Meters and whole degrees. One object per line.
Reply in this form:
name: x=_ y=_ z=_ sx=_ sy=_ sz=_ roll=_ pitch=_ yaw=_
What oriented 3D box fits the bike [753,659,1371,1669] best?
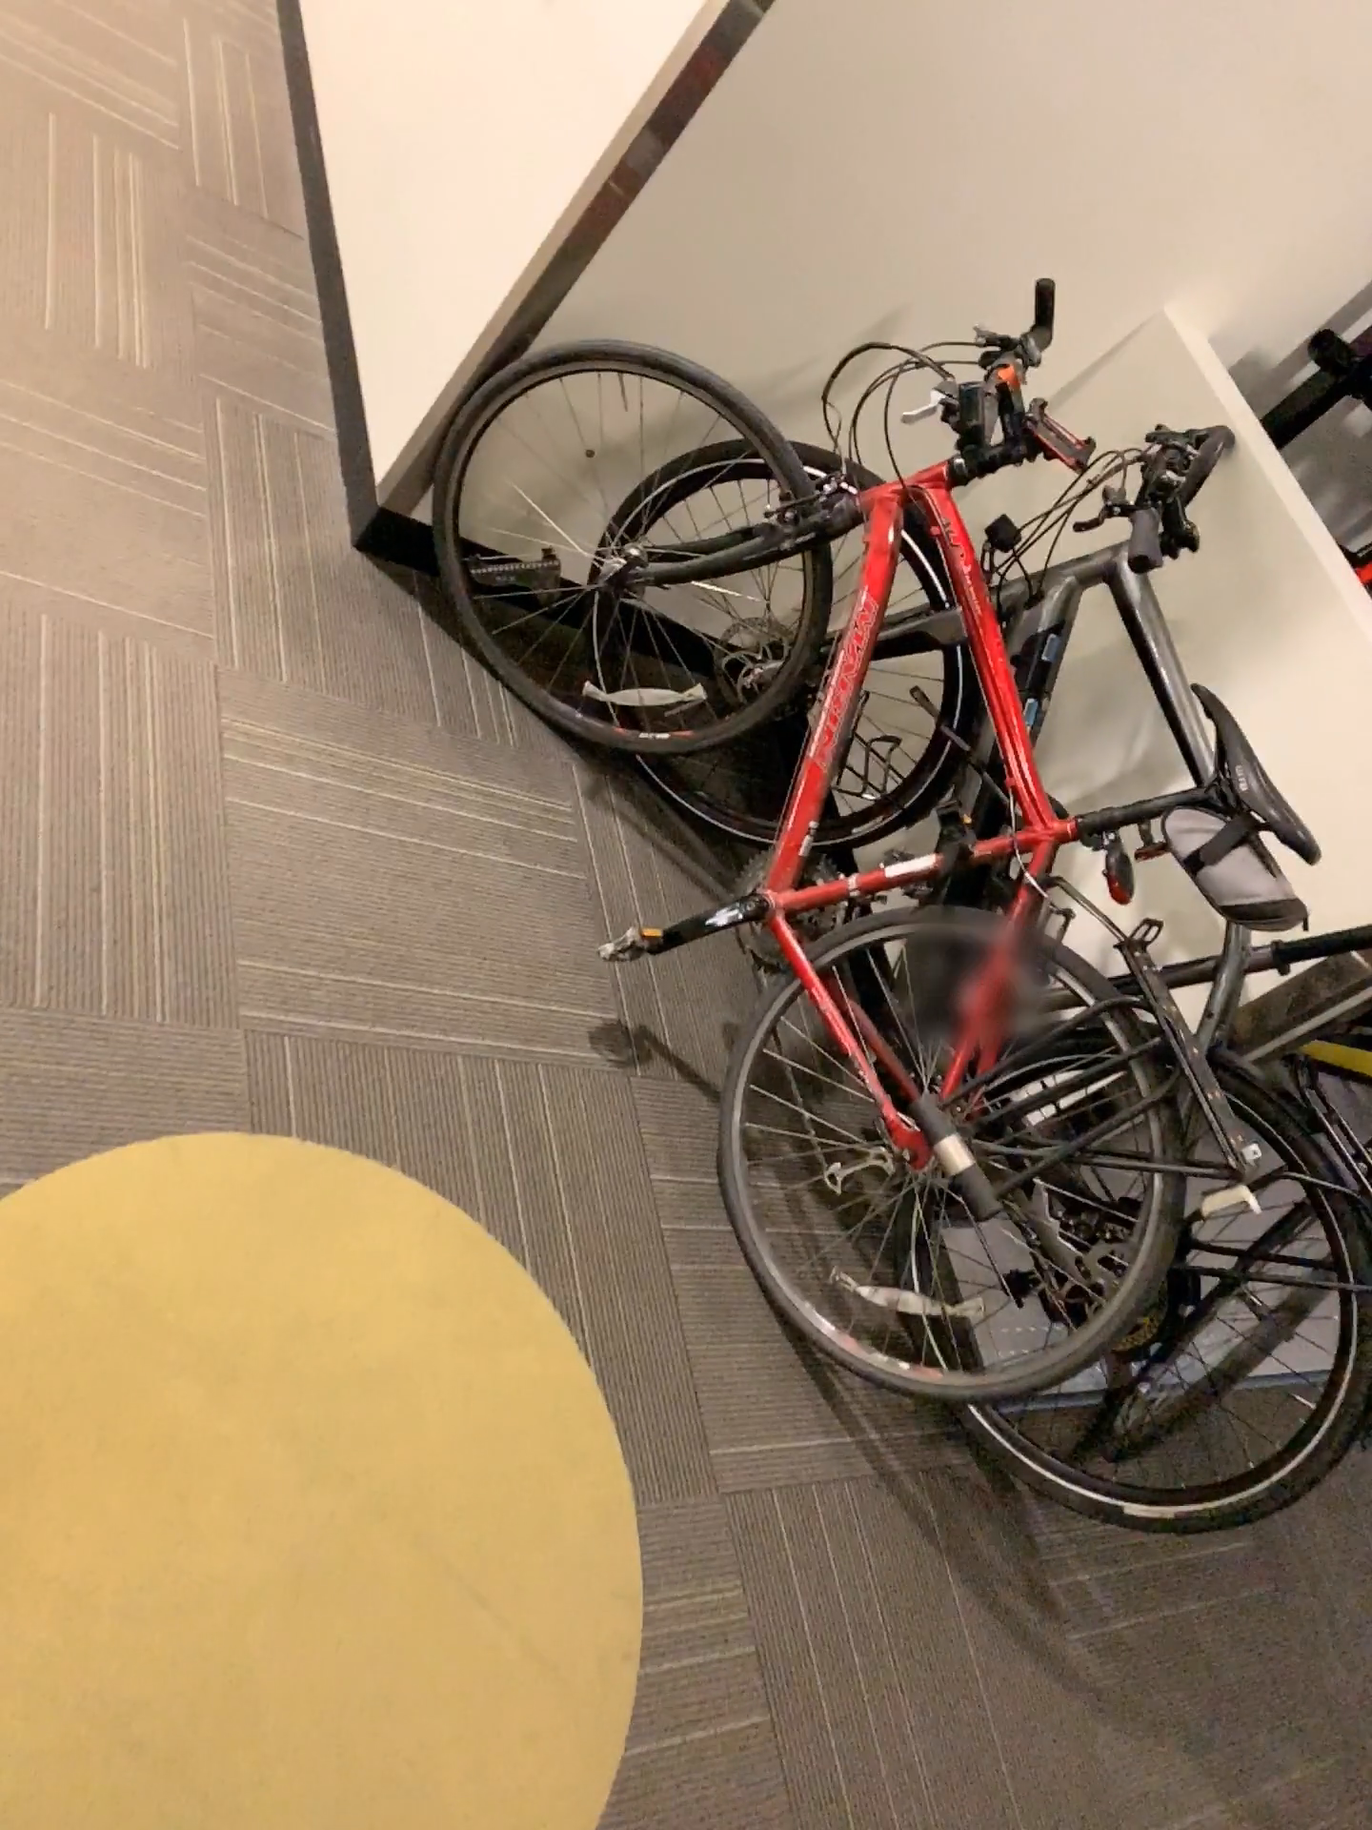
bike: x=0.784 y=0.386 z=1.902 sx=0.695 sy=1.149 sz=0.726 roll=-13 pitch=74 yaw=-50

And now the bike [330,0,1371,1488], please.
bike: x=0.303 y=-0.204 z=1.945 sx=0.605 sy=0.928 sz=1.612 roll=-15 pitch=74 yaw=-50
